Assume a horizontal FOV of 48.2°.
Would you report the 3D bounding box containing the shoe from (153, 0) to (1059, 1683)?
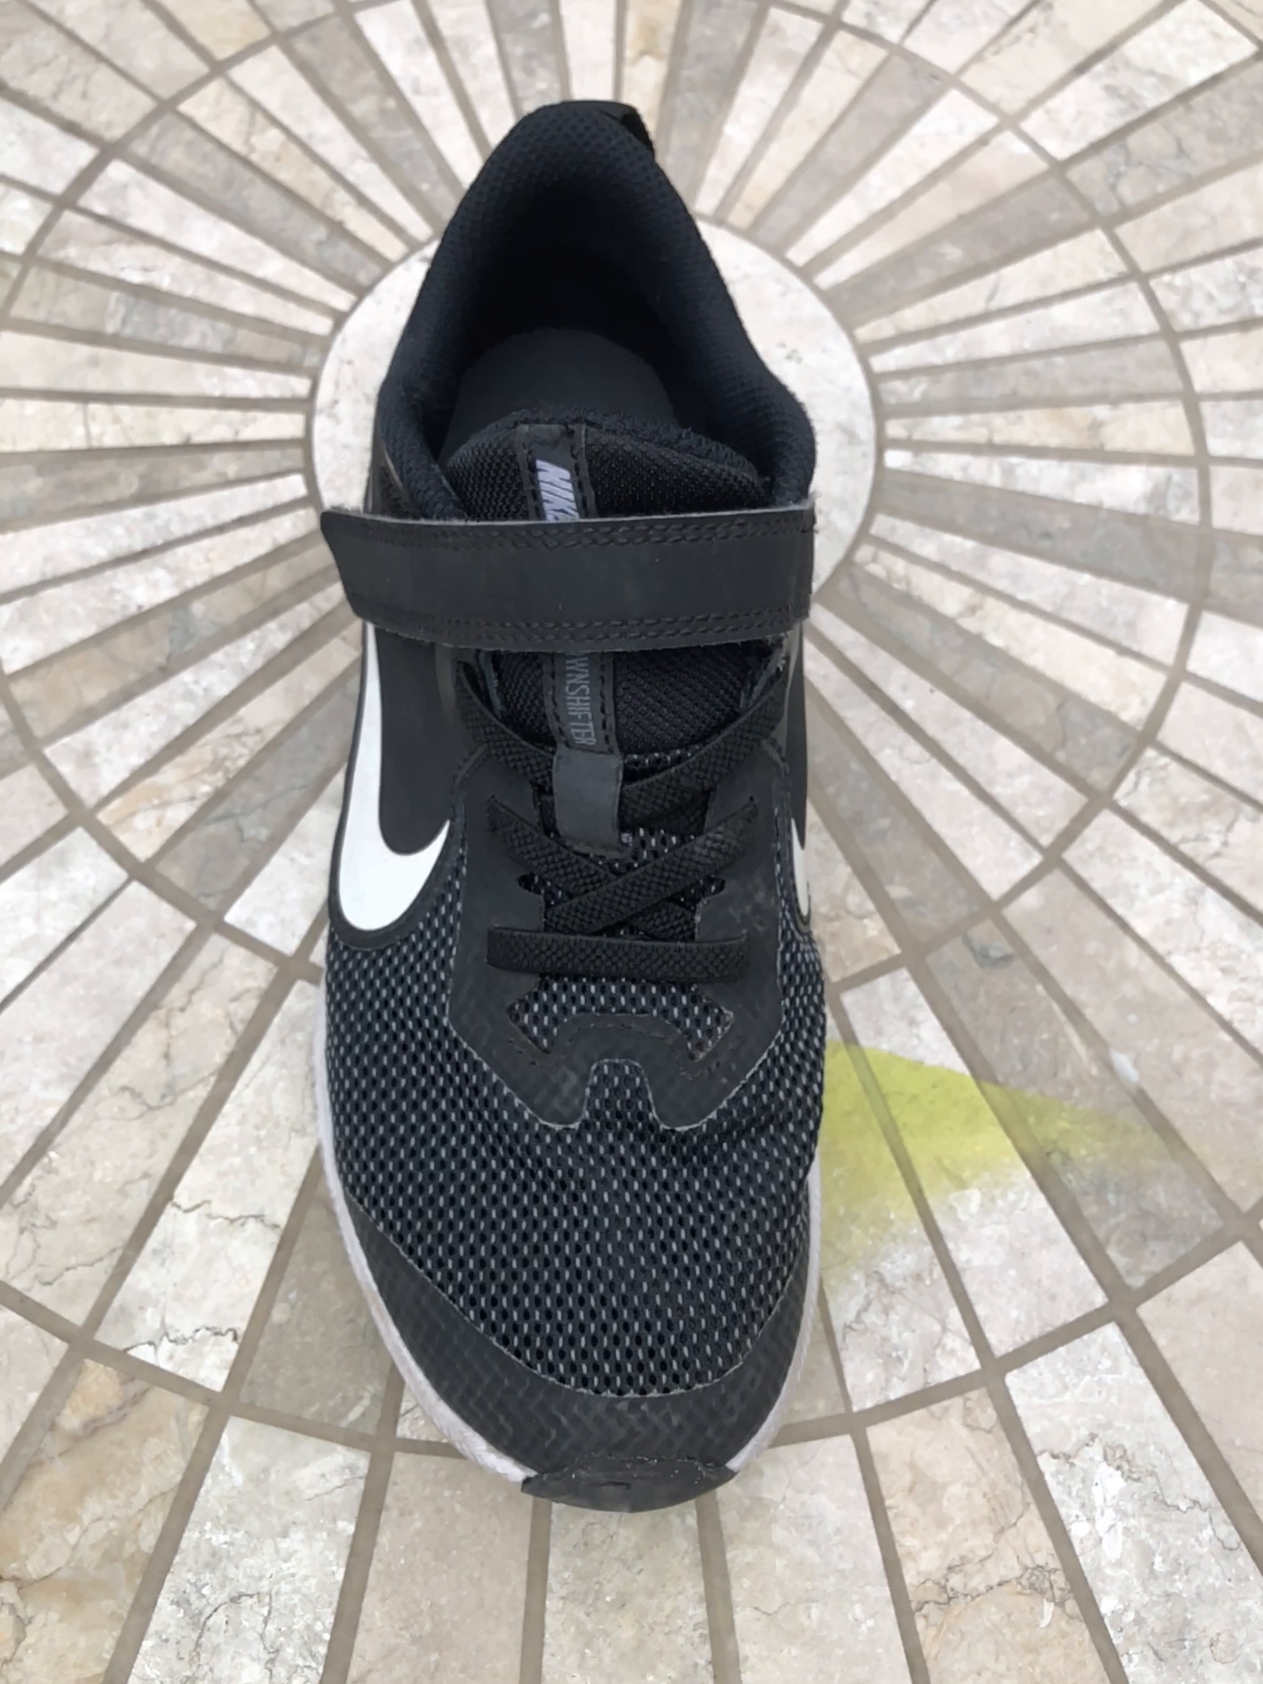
[{"bbox_3d":[-0.008,-0.012,0.243,0.100,0.100,0.251,-1,72,-3],"label":"shoe"}]
